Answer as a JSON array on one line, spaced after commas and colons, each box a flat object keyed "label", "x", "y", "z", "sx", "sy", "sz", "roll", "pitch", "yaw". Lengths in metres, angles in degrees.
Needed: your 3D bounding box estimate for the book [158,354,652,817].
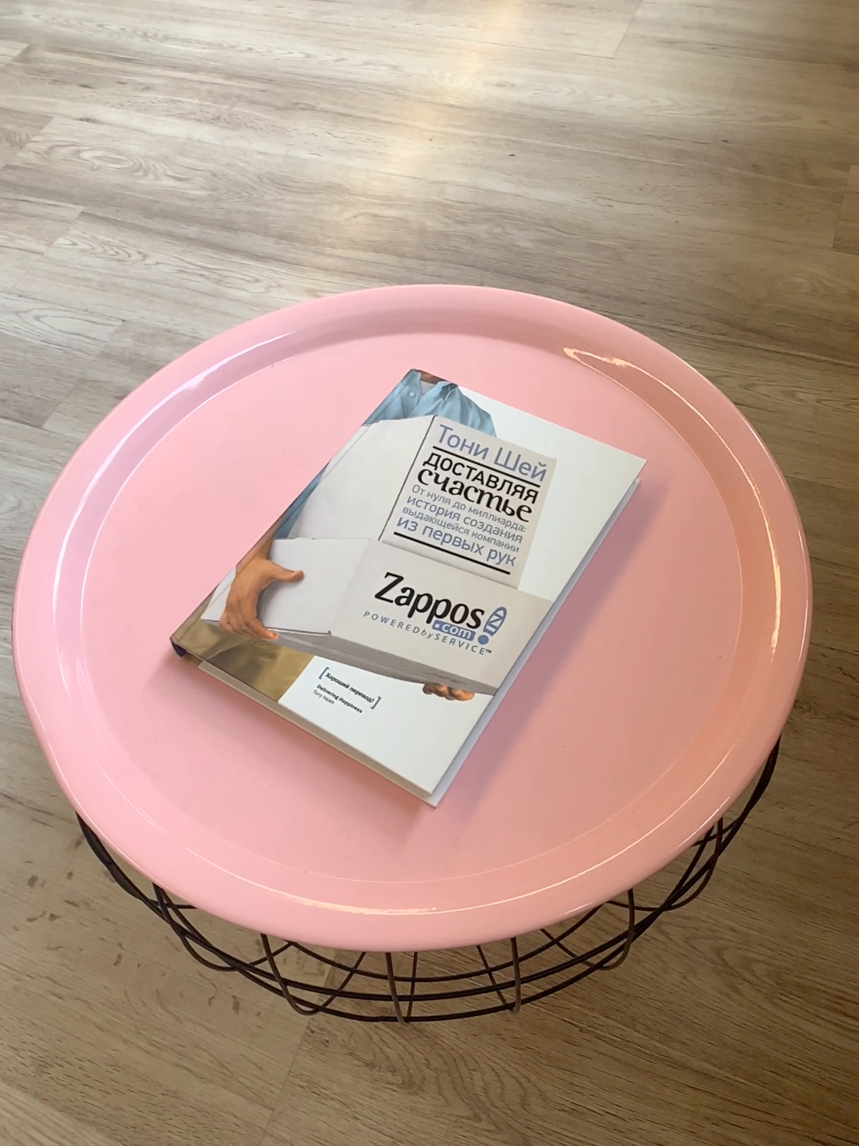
[{"label": "book", "x": -0.007, "y": -0.010, "z": 0.492, "sx": 0.170, "sy": 0.030, "sz": 0.232, "roll": 27, "pitch": 63, "yaw": 20}]
